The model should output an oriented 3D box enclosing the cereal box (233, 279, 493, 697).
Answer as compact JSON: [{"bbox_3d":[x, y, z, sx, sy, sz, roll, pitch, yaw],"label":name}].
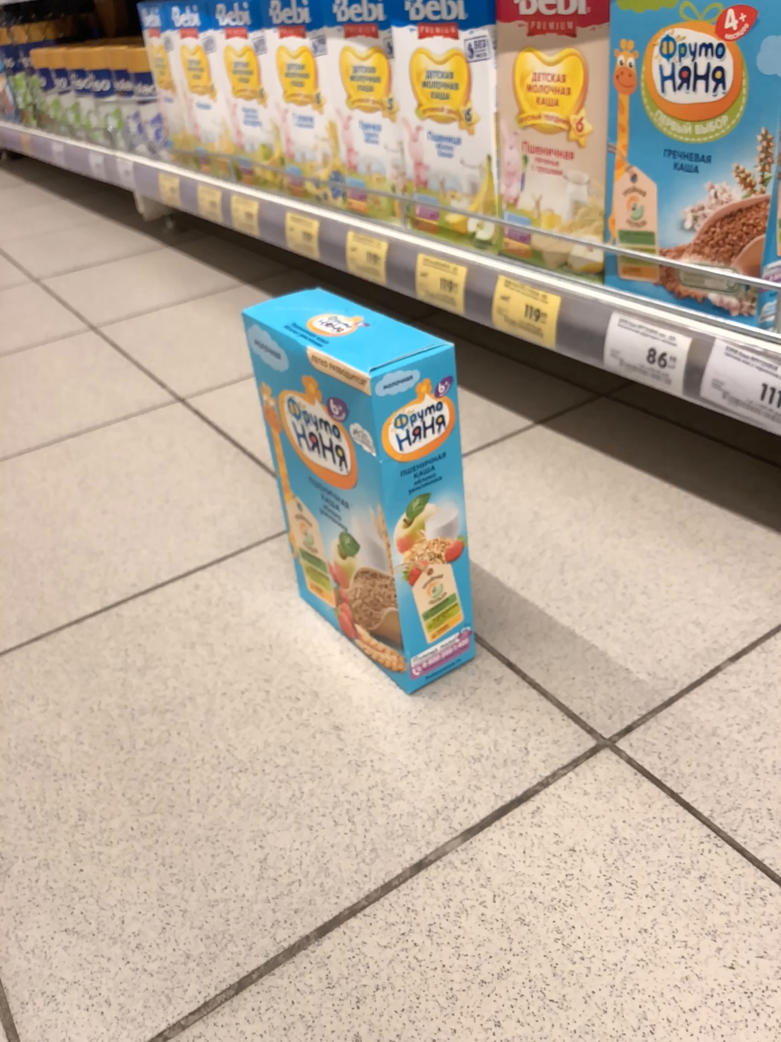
[{"bbox_3d":[-0.014,-0.022,0.506,0.060,0.199,0.141,-25,36,-27],"label":"cereal box"}]
